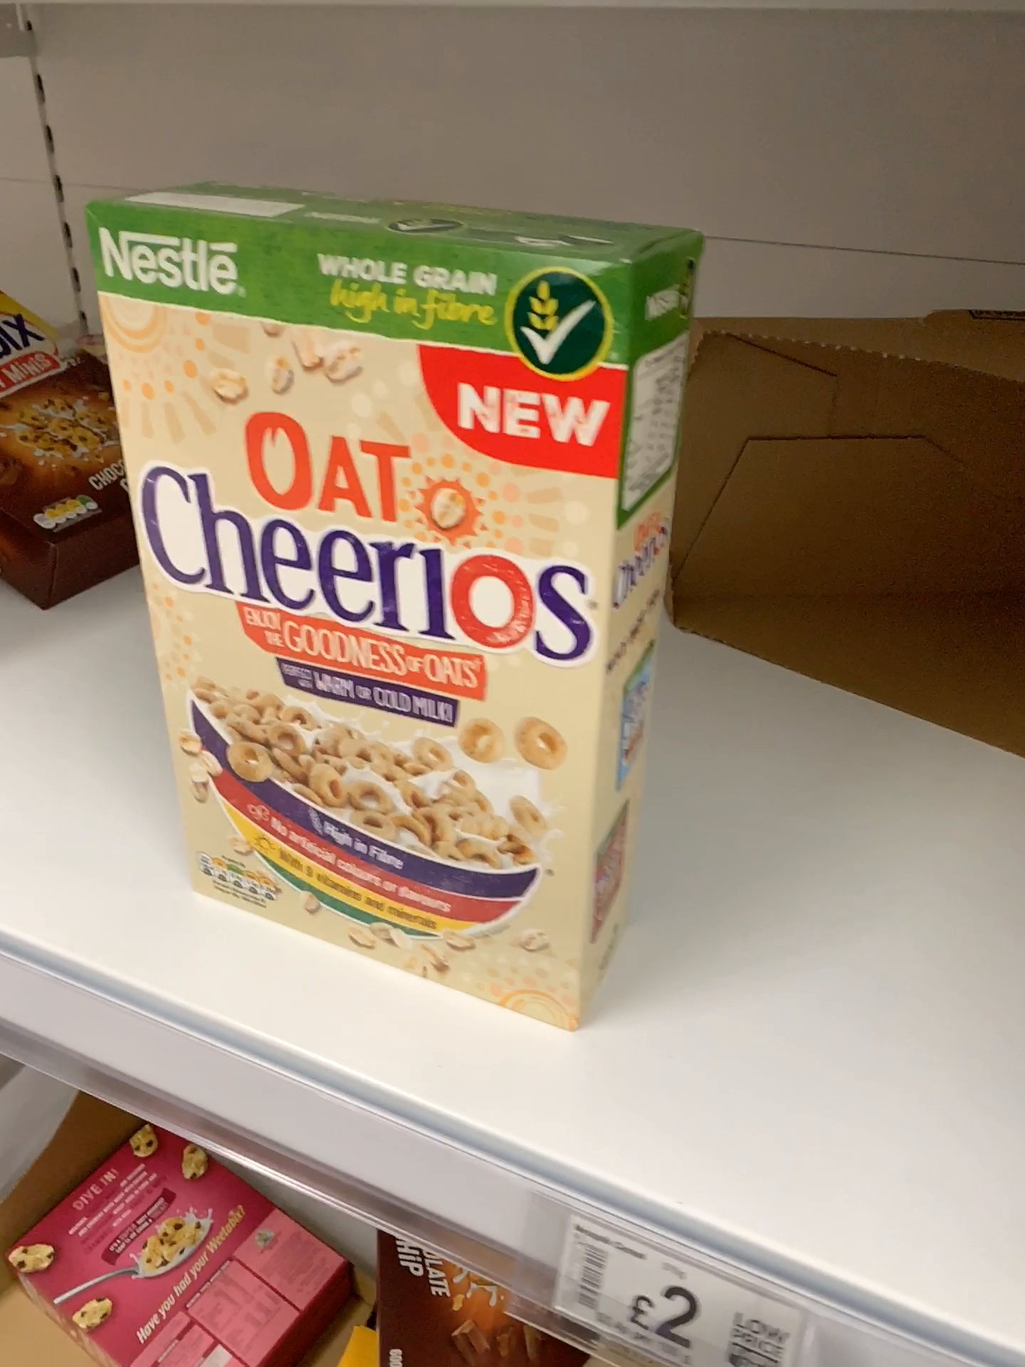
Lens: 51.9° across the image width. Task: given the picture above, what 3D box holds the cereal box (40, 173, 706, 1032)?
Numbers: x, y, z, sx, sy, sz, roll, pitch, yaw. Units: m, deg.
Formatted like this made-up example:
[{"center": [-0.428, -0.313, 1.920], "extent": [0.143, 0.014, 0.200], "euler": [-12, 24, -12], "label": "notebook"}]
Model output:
[{"center": [-0.049, -0.027, 0.403], "extent": [0.200, 0.287, 0.071], "euler": [15, 33, 21], "label": "cereal box"}]
